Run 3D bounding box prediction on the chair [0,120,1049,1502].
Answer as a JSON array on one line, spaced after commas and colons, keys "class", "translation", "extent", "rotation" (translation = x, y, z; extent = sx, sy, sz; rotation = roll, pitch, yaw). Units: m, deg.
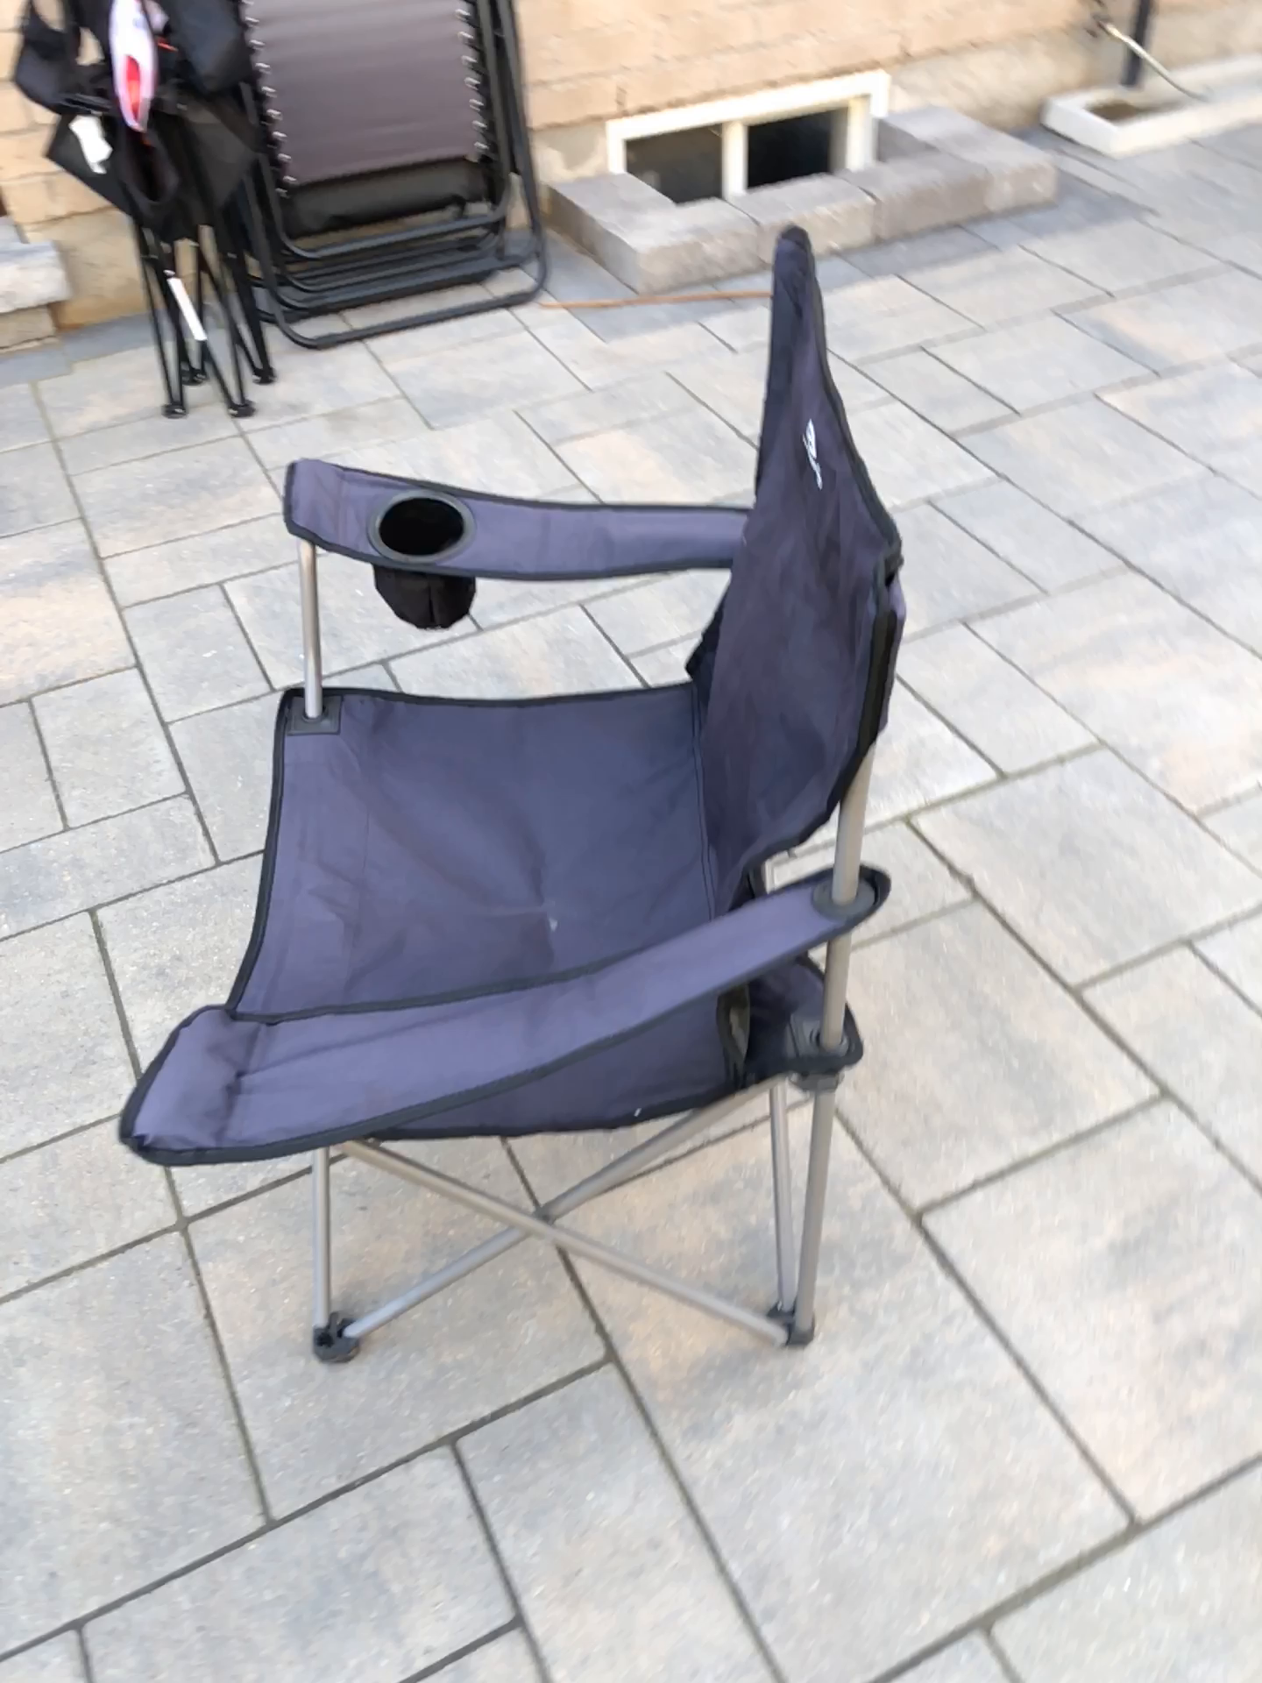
[{"class": "chair", "translation": [-0.112, -0.016, 1.115], "extent": [0.570, 0.817, 0.692], "rotation": [-4, 43, -1]}]
